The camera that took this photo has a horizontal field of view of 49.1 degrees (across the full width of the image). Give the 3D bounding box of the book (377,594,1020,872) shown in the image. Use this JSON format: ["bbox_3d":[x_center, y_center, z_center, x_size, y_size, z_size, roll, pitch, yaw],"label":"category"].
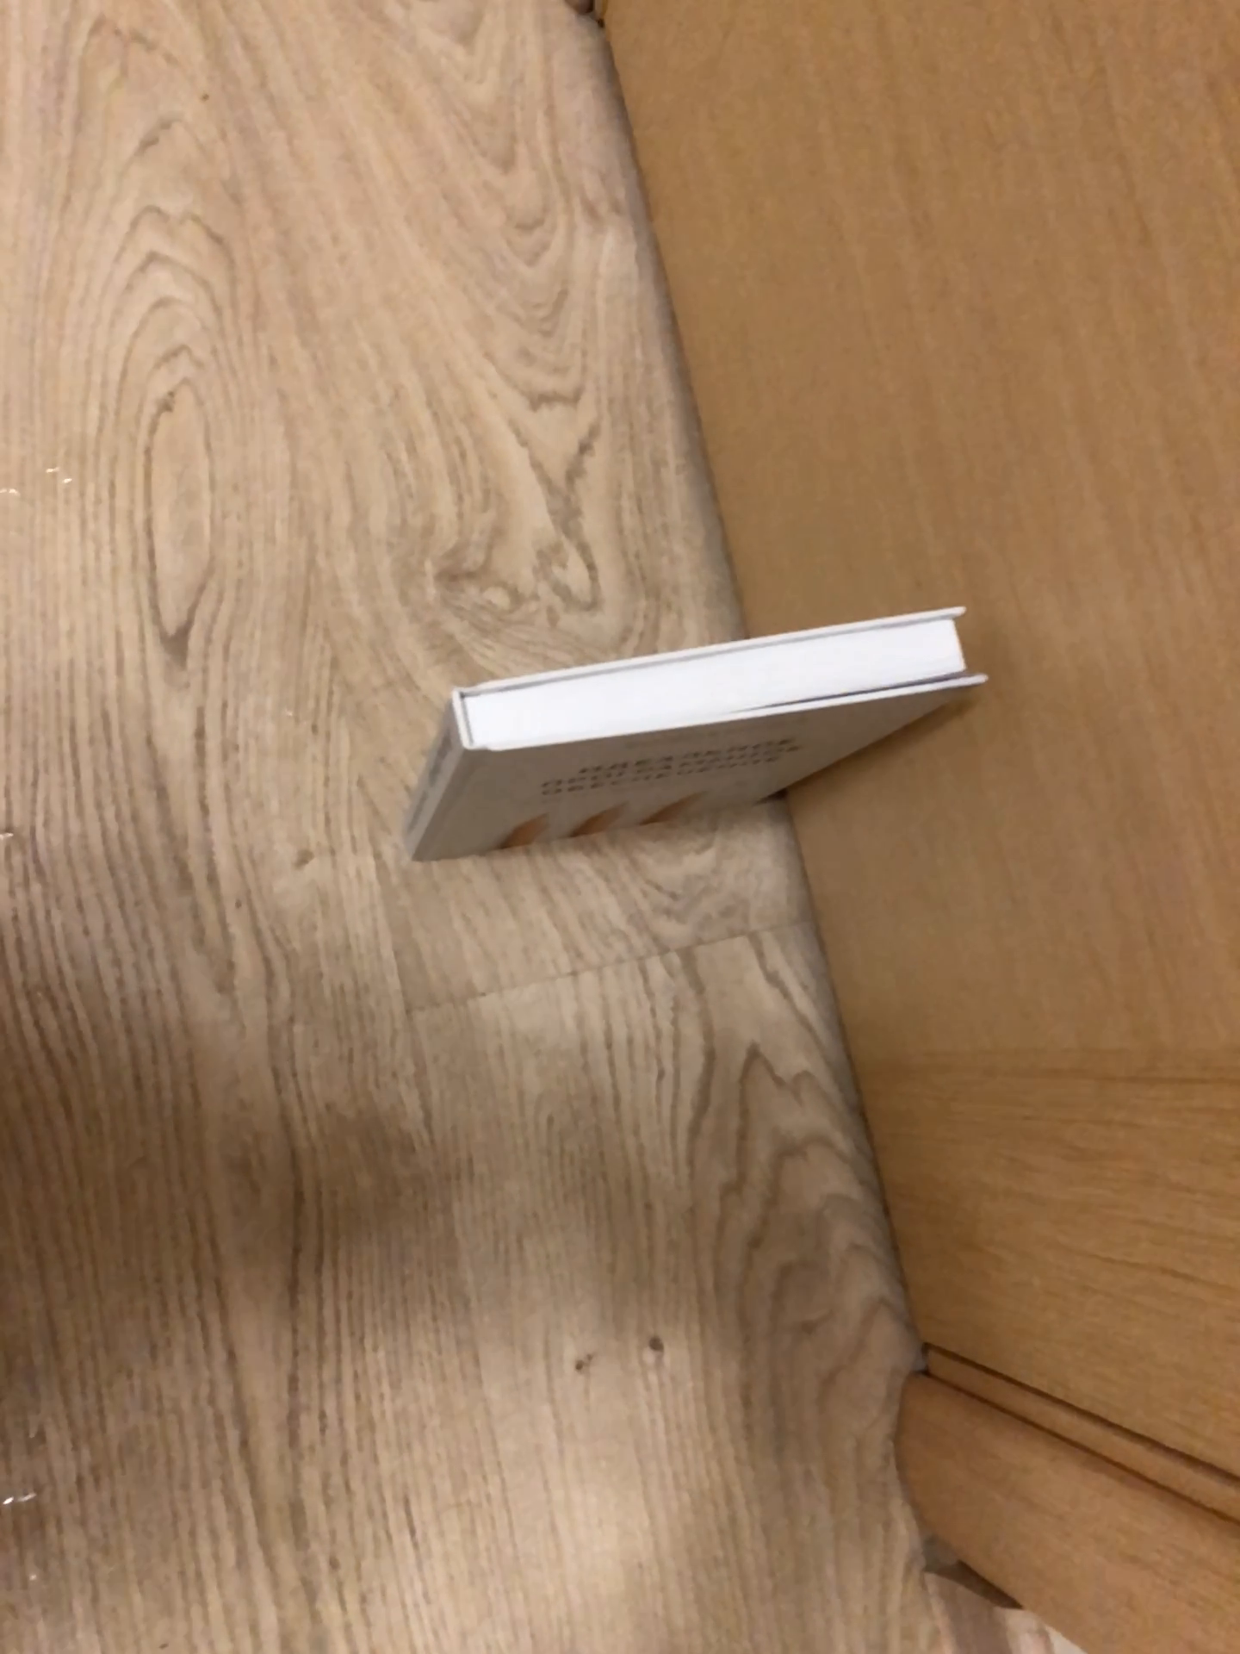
[{"bbox_3d":[0.007,-0.023,0.455,0.163,0.210,0.023,-10,84,-14],"label":"book"}]
